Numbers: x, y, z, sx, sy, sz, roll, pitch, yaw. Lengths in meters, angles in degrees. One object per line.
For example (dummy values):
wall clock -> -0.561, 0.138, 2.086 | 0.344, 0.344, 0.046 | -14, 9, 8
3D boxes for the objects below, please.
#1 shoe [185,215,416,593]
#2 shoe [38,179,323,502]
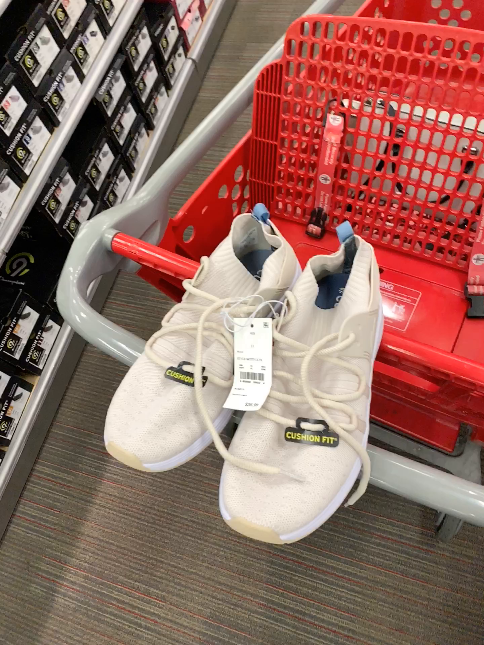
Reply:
shoe -> 0.065, 0.050, 0.419 | 0.110, 0.110, 0.280 | 10, 55, 16
shoe -> -0.033, -0.001, 0.467 | 0.110, 0.110, 0.280 | 21, 54, 20
